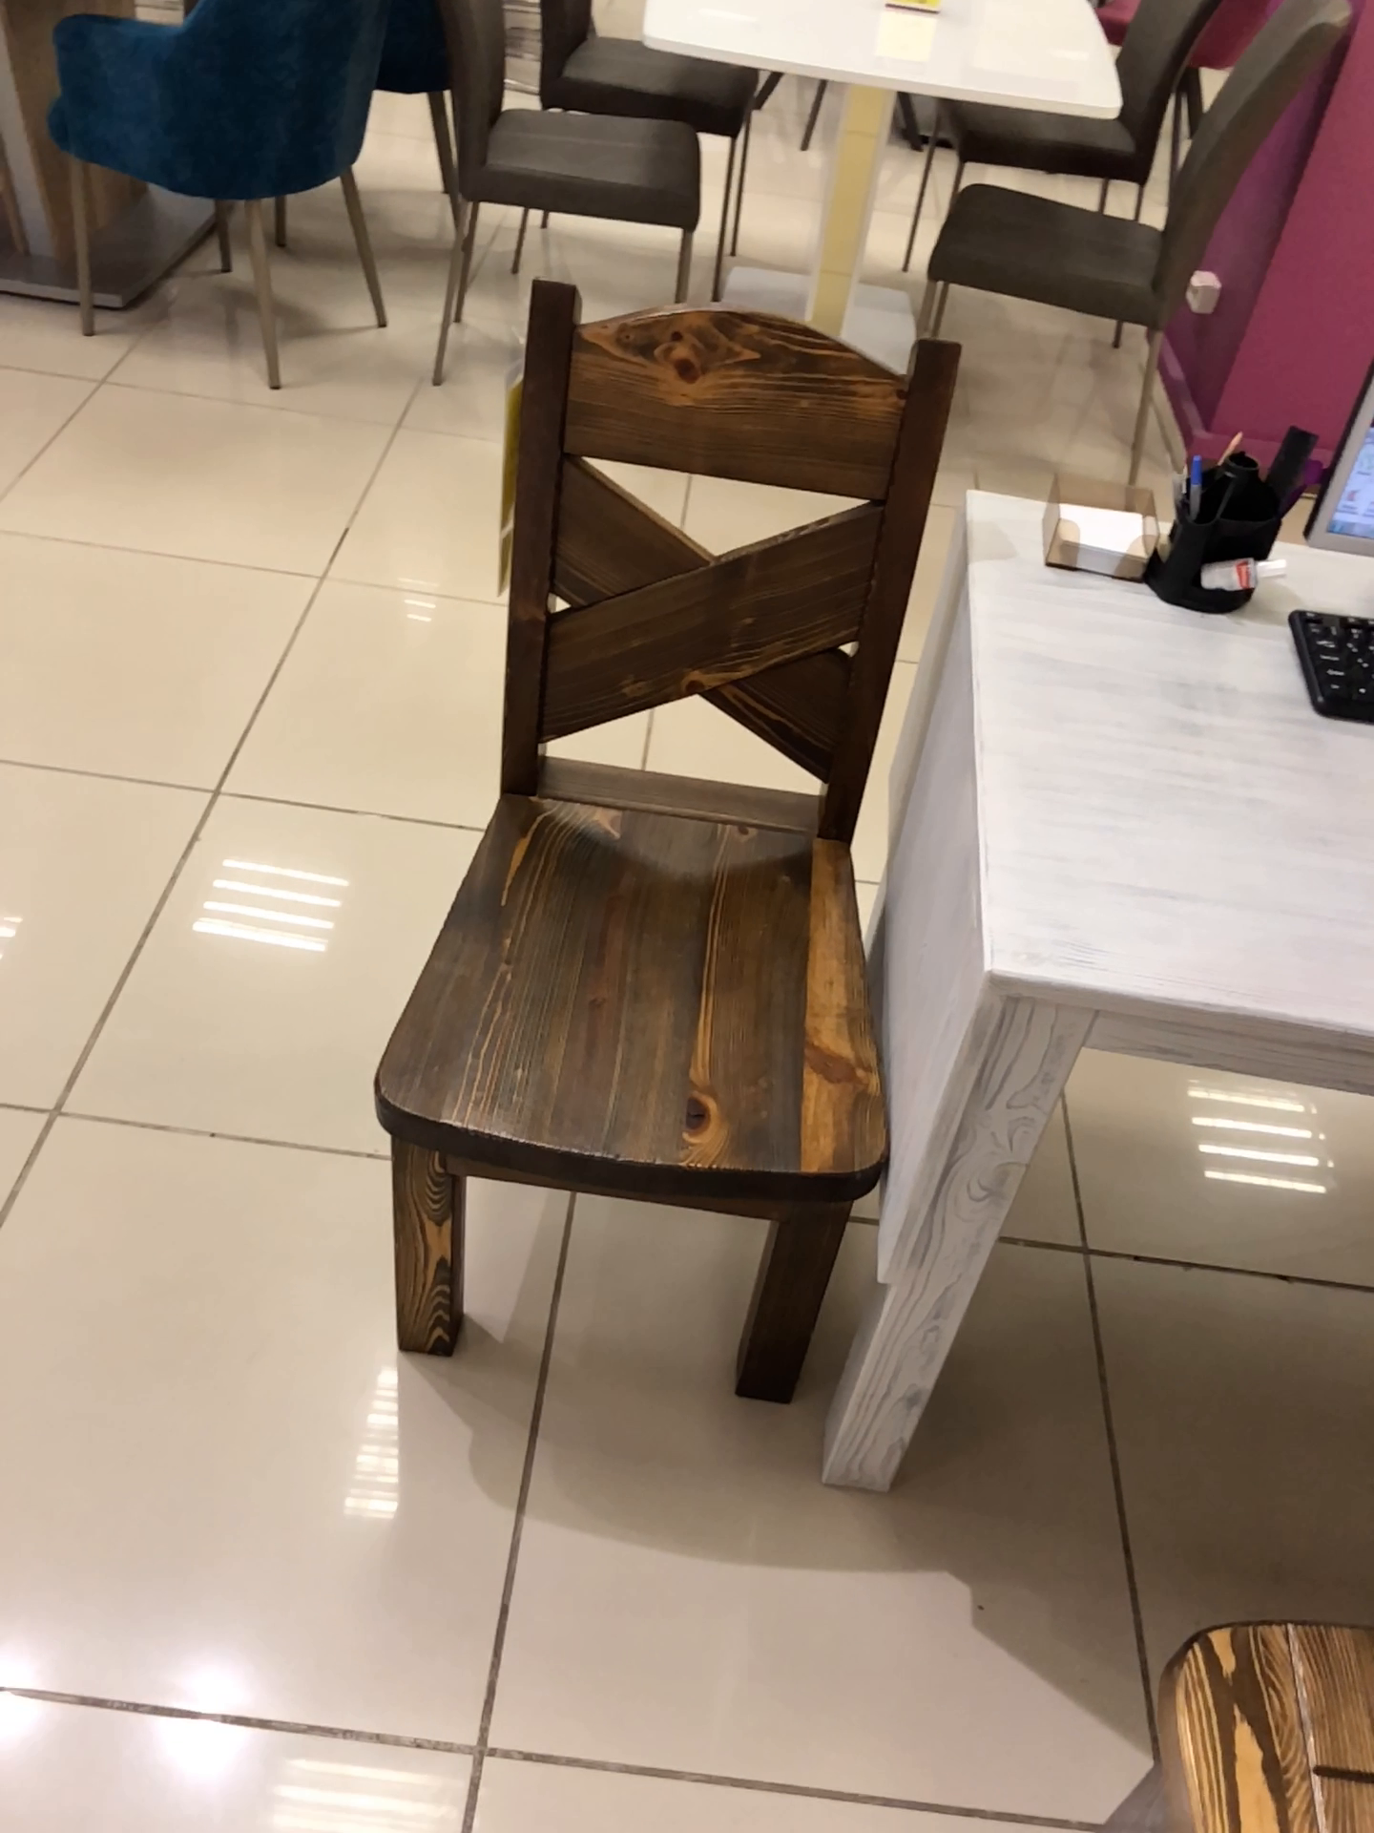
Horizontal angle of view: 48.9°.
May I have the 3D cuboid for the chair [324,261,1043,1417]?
[{"bbox_3d":[-0.031,-0.038,1.449,0.450,0.895,0.573,8,42,-1],"label":"chair"}]
